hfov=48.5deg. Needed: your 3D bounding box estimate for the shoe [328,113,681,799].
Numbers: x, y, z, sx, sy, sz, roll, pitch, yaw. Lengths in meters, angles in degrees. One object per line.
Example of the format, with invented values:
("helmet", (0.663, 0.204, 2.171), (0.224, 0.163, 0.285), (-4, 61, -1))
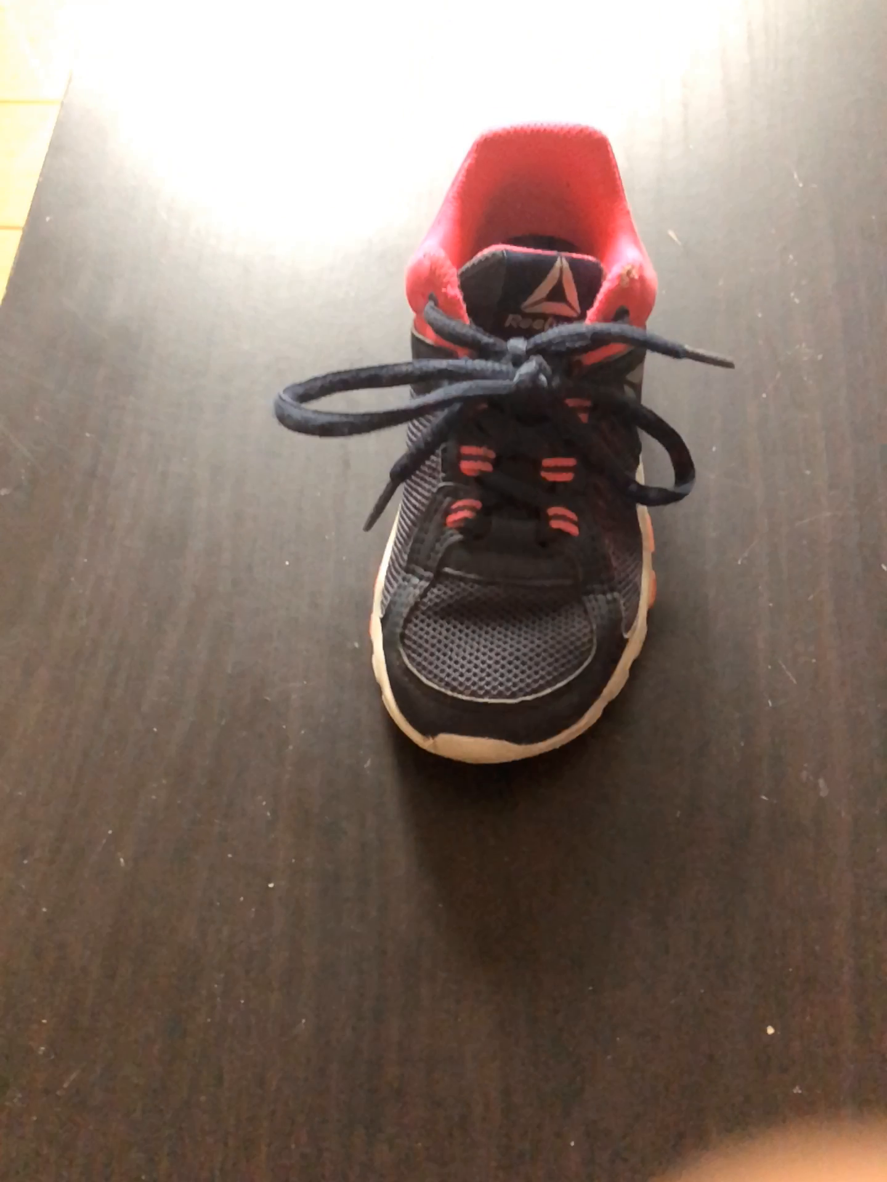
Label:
("shoe", (0.023, -0.045, 0.295), (0.080, 0.070, 0.193), (4, 65, 4))
